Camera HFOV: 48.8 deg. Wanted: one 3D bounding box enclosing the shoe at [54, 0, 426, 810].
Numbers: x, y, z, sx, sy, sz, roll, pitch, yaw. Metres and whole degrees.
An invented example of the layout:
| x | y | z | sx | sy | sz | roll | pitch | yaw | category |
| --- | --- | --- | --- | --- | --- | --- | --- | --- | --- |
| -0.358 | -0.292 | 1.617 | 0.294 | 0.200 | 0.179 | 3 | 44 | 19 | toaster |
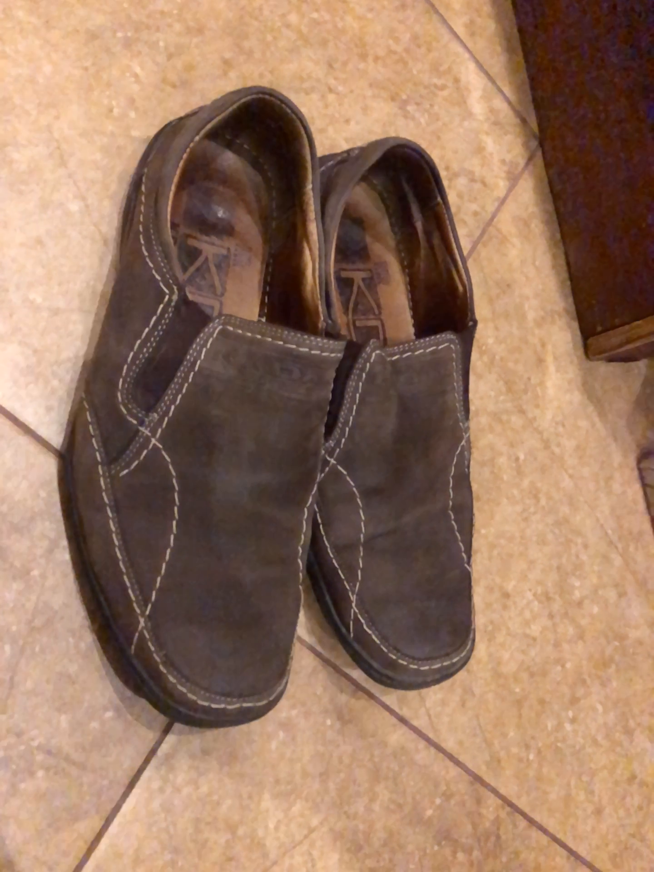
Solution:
| x | y | z | sx | sy | sz | roll | pitch | yaw | category |
| --- | --- | --- | --- | --- | --- | --- | --- | --- | --- |
| -0.047 | -0.022 | 0.319 | 0.120 | 0.090 | 0.300 | 1 | 79 | -31 | shoe |

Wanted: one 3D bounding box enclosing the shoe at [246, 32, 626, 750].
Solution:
| x | y | z | sx | sy | sz | roll | pitch | yaw | category |
| --- | --- | --- | --- | --- | --- | --- | --- | --- | --- |
| 0.047 | -0.023 | 0.363 | 0.120 | 0.090 | 0.300 | -1 | 80 | -31 | shoe |
